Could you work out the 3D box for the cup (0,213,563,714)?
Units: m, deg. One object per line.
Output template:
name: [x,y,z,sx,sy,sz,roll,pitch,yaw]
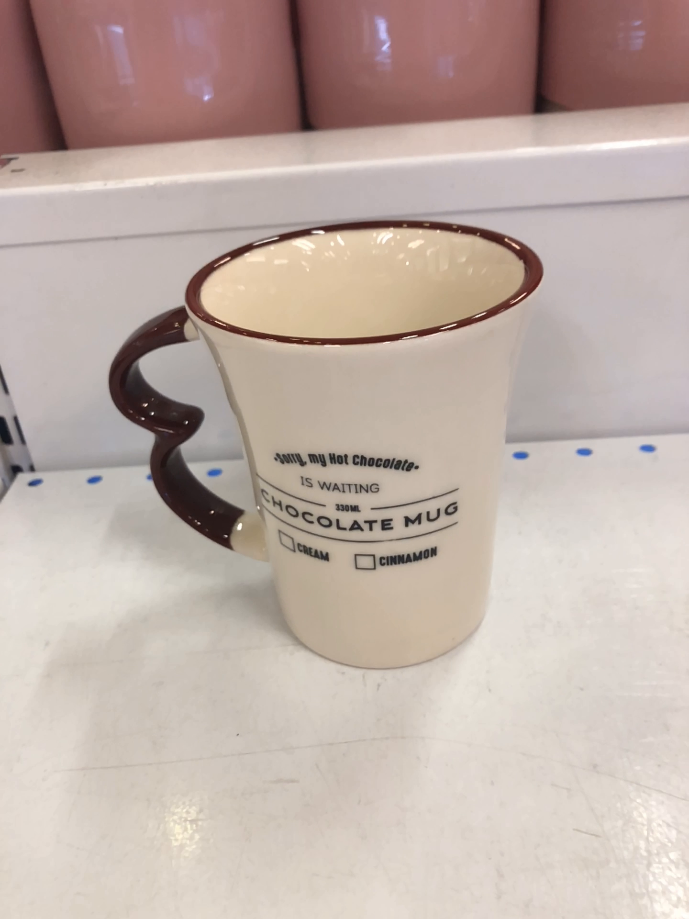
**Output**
cup: [-0.010,-0.001,0.224,0.120,0.109,0.091,-1,32,6]
